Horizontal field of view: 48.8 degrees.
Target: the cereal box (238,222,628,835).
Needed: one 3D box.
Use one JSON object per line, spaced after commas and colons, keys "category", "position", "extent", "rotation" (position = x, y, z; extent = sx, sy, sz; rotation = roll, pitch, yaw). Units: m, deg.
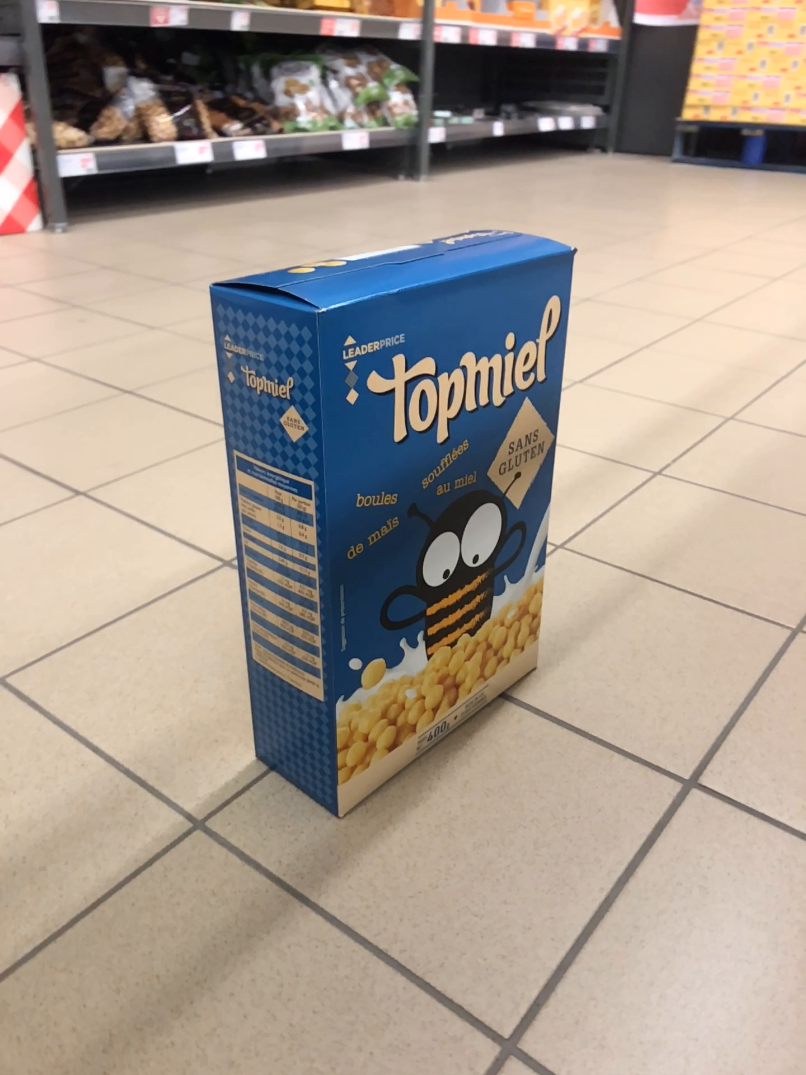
{"category": "cereal box", "position": [0.021, -0.014, 0.494], "extent": [0.080, 0.278, 0.201], "rotation": [23, 35, 35]}
